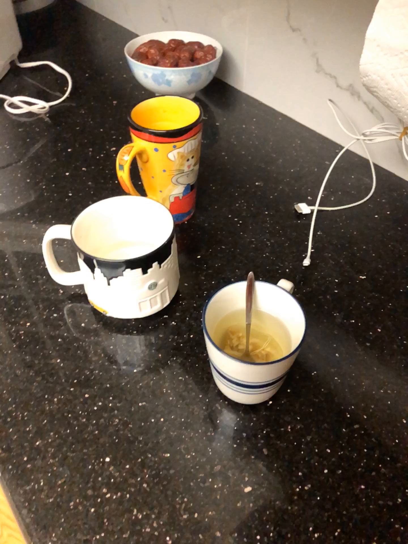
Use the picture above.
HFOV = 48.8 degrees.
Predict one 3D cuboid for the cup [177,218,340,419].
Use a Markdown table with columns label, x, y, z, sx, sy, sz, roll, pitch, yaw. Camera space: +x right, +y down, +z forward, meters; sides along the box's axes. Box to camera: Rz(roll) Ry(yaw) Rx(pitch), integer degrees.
| label | x | y | z | sx | sy | sz | roll | pitch | yaw |
| --- | --- | --- | --- | --- | --- | --- | --- | --- | --- |
| cup | 0.050 | 0.037 | 0.405 | 0.090 | 0.090 | 0.130 | 21 | 50 | 19 |

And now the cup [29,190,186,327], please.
| label | x | y | z | sx | sy | sz | roll | pitch | yaw |
| --- | --- | --- | --- | --- | --- | --- | --- | --- | --- |
| cup | -0.091 | -0.016 | 0.480 | 0.140 | 0.090 | 0.111 | -2 | 46 | -2 |

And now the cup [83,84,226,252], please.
| label | x | y | z | sx | sy | sz | roll | pitch | yaw |
| --- | --- | --- | --- | --- | --- | --- | --- | --- | --- |
| cup | -0.052 | -0.129 | 0.547 | 0.090 | 0.129 | 0.140 | 28 | 52 | 24 |
